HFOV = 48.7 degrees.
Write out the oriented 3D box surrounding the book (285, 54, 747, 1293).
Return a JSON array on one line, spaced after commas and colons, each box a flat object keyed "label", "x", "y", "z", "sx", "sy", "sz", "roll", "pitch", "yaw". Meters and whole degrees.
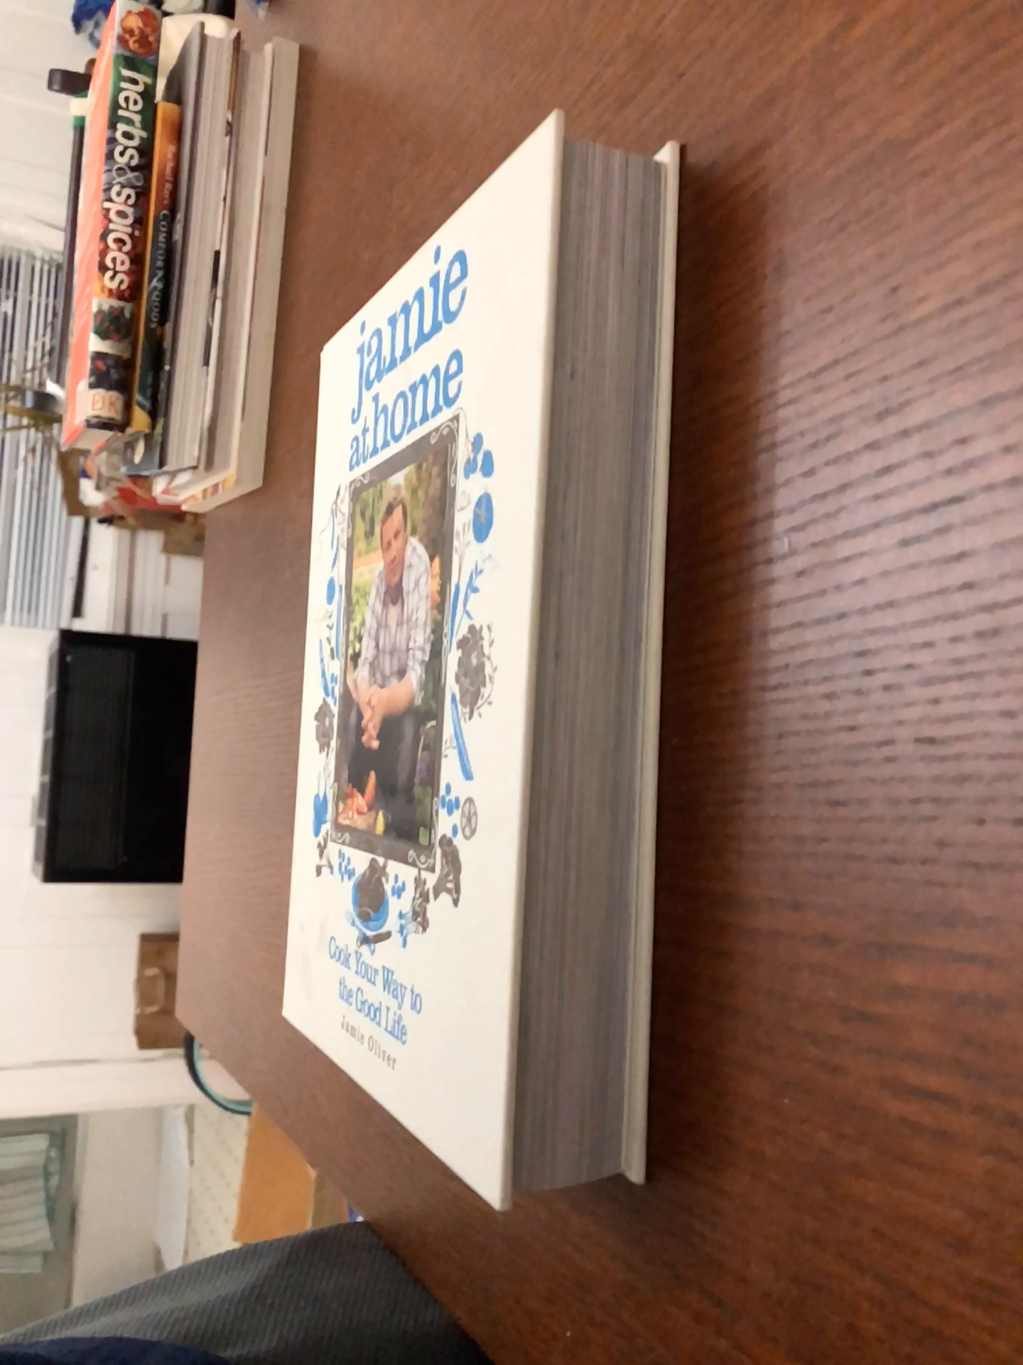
[{"label": "book", "x": -0.015, "y": -0.002, "z": 0.340, "sx": 0.211, "sy": 0.040, "sz": 0.260, "roll": 176, "pitch": 98, "yaw": -66}]
